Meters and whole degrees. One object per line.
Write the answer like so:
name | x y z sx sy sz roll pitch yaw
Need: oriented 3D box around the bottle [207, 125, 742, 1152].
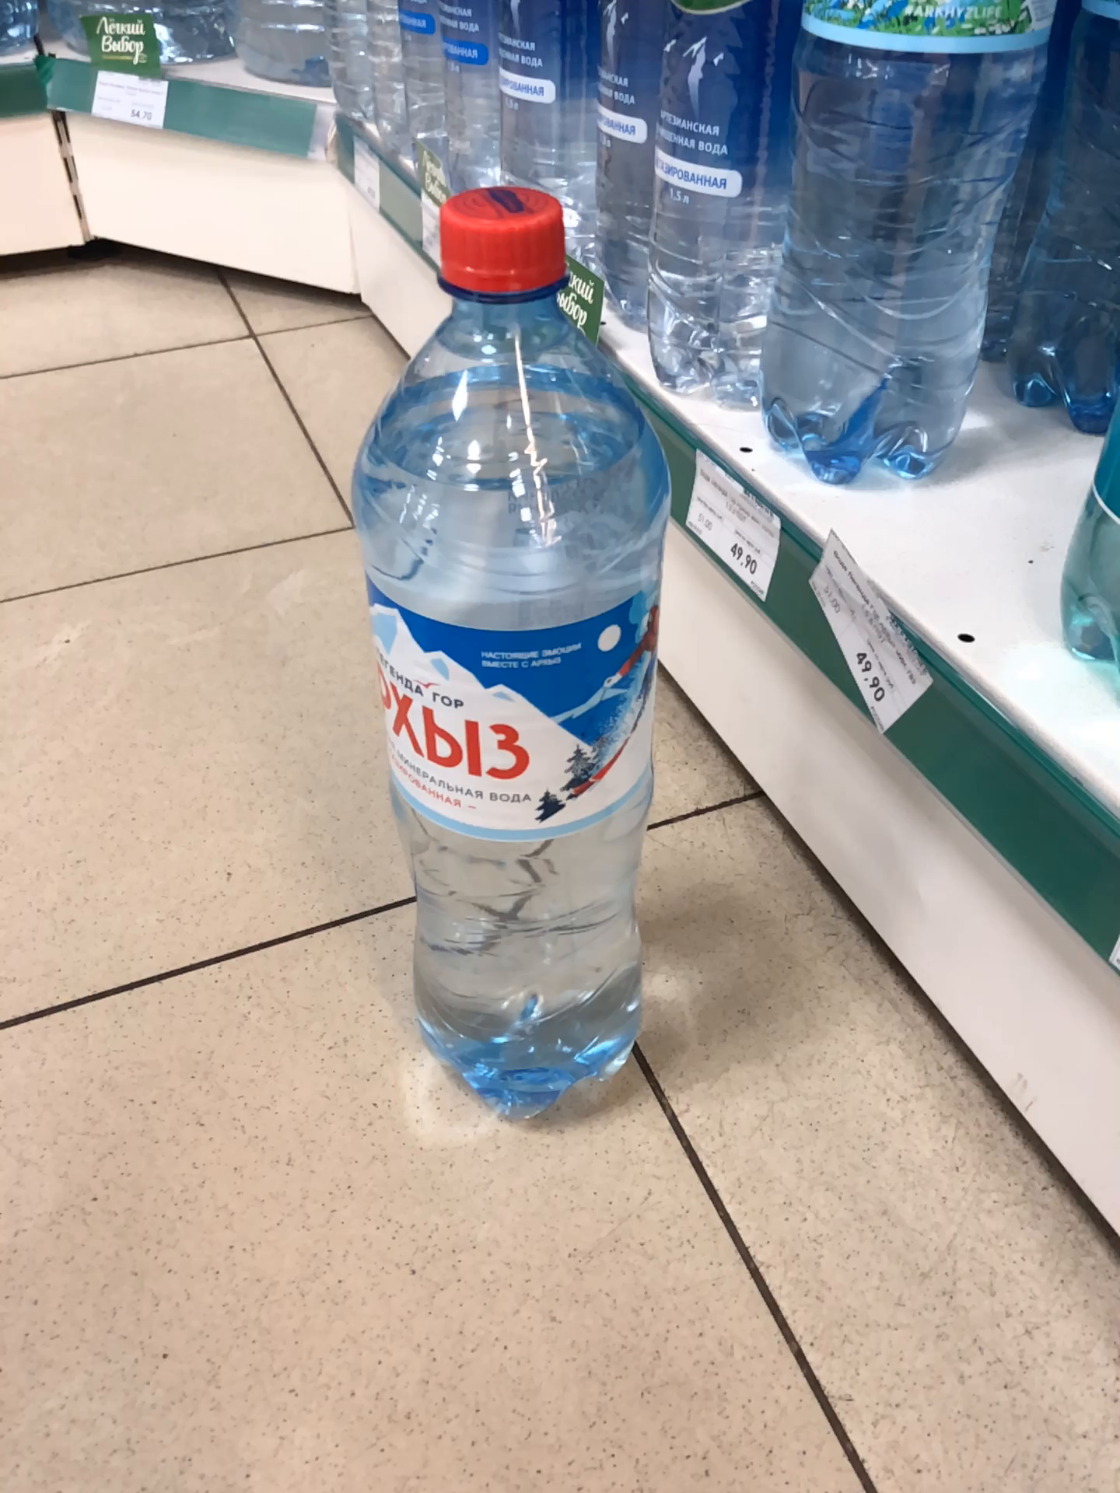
bottle | -0.018 -0.013 0.388 0.085 0.305 0.094 -1 41 1
